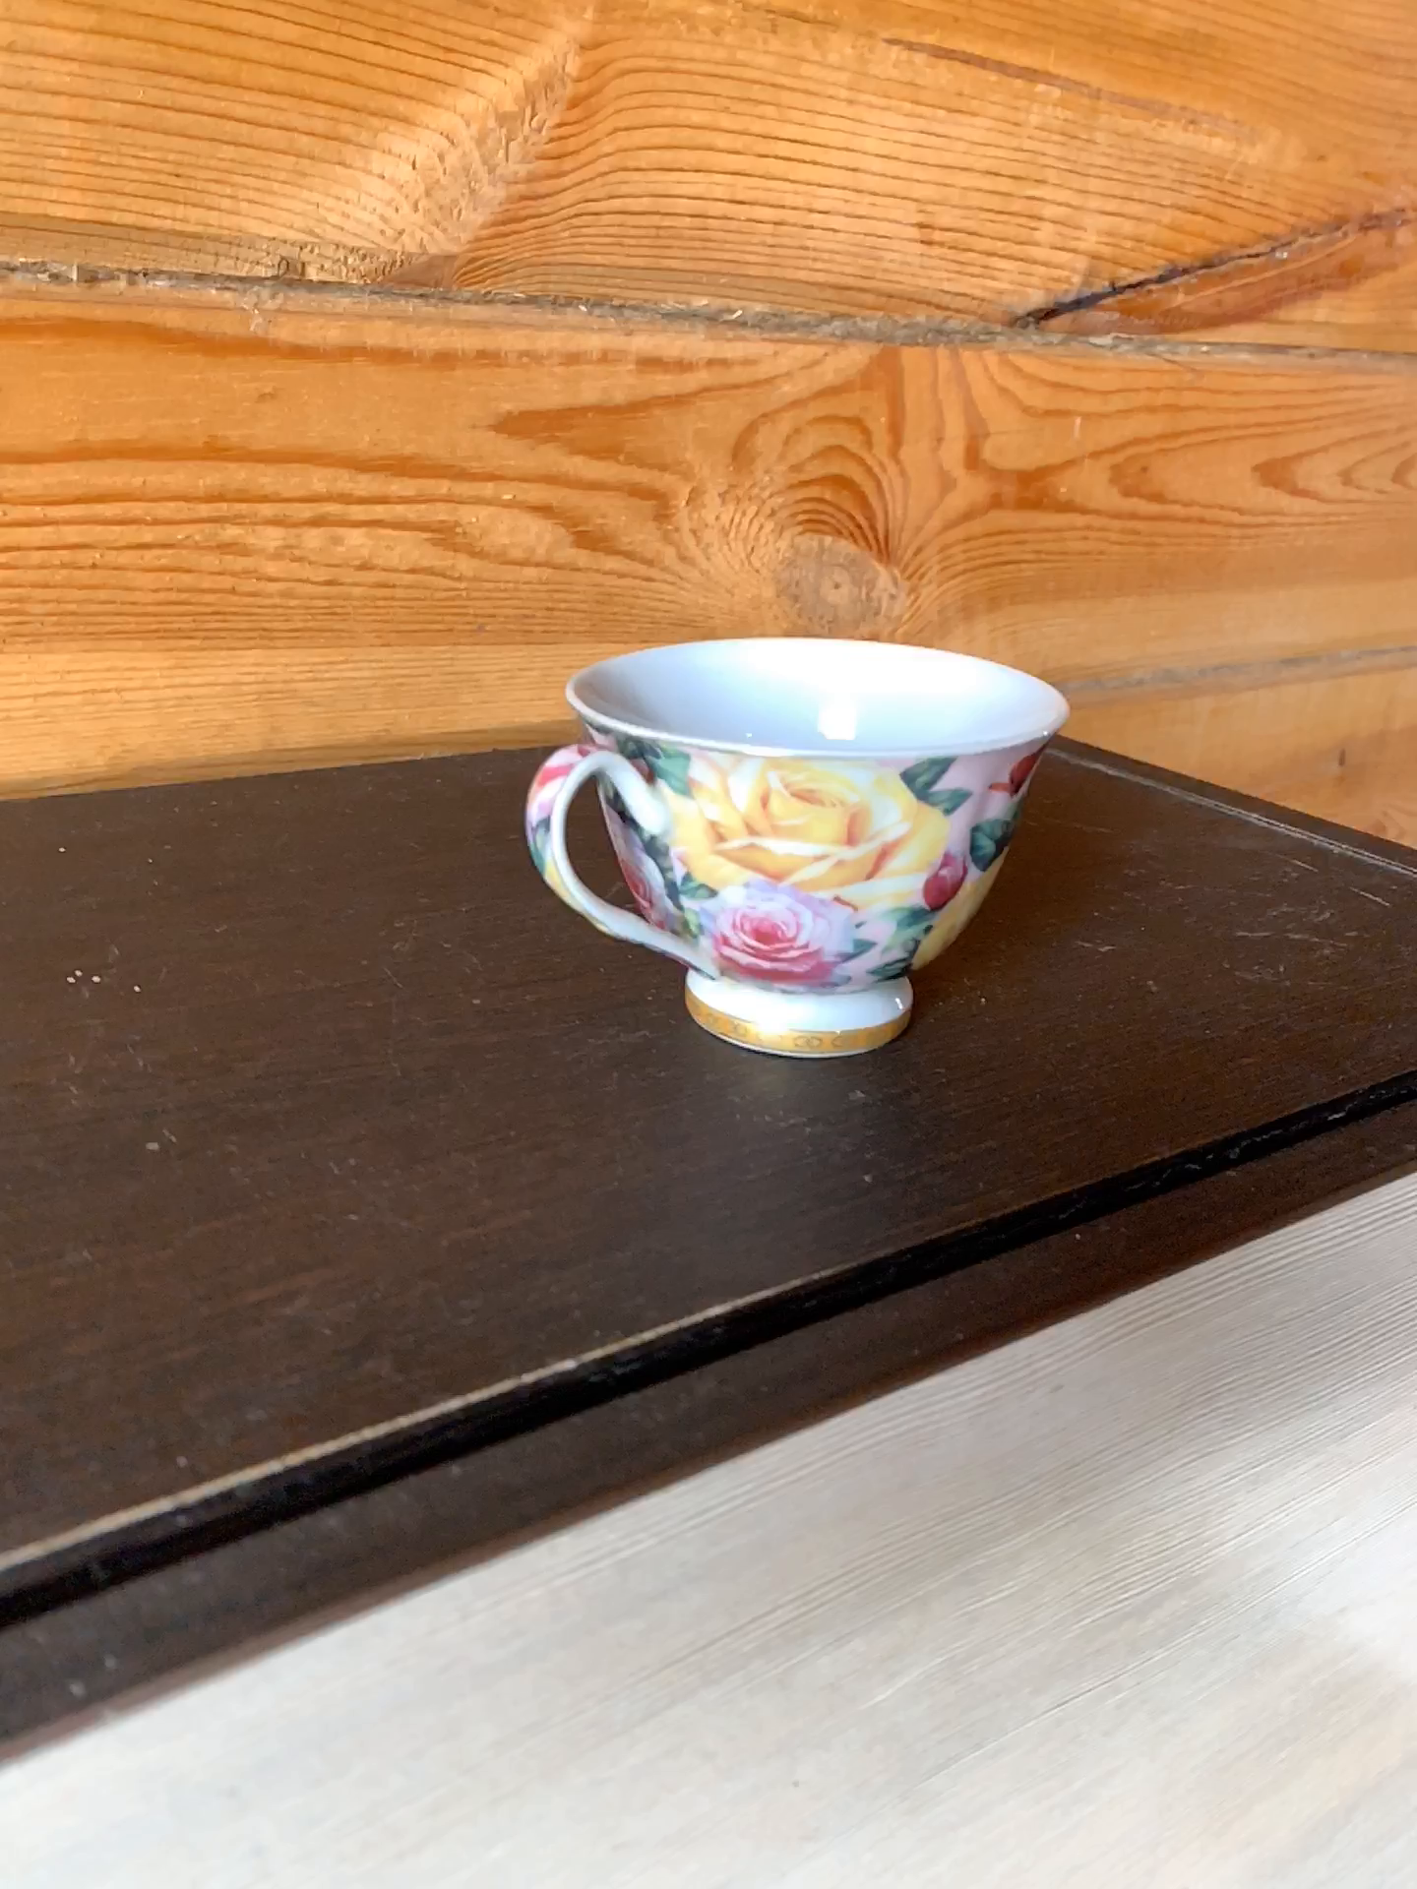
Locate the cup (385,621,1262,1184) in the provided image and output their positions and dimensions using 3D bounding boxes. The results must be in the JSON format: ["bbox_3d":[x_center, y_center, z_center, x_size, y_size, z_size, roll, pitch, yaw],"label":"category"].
[{"bbox_3d":[0.017,-0.019,0.270,0.120,0.060,0.100,-11,24,-32],"label":"cup"}]
